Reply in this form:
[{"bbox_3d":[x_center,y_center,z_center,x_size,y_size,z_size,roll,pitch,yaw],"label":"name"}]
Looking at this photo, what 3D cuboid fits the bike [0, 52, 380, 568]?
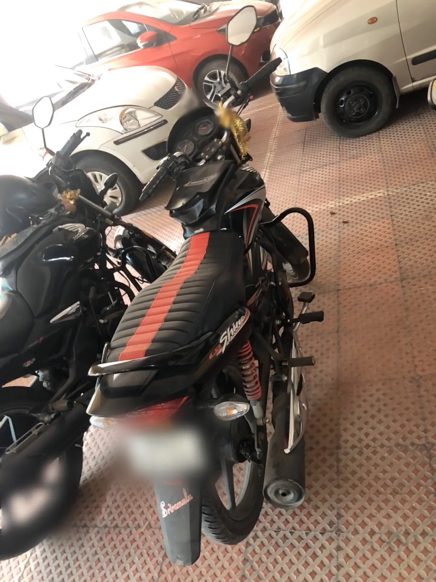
[{"bbox_3d":[-0.083,-0.059,1.749,0.746,1.010,1.561,-16,34,16],"label":"bike"}]
